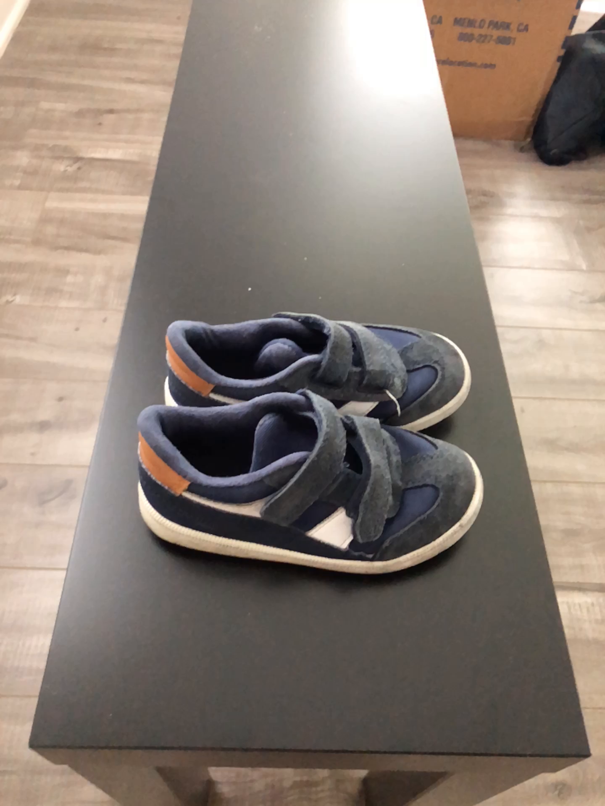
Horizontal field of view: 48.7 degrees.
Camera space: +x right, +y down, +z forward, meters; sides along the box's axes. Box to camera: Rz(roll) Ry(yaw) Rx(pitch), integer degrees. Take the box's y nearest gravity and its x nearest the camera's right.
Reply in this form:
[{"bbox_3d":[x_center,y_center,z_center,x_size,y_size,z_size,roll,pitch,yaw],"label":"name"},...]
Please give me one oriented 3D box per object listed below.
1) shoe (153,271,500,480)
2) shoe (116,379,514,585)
[{"bbox_3d":[0.009,-0.019,0.408,0.185,0.068,0.088,-6,54,-9],"label":"shoe"},{"bbox_3d":[0.005,0.044,0.361,0.185,0.068,0.082,2,54,-3],"label":"shoe"}]
